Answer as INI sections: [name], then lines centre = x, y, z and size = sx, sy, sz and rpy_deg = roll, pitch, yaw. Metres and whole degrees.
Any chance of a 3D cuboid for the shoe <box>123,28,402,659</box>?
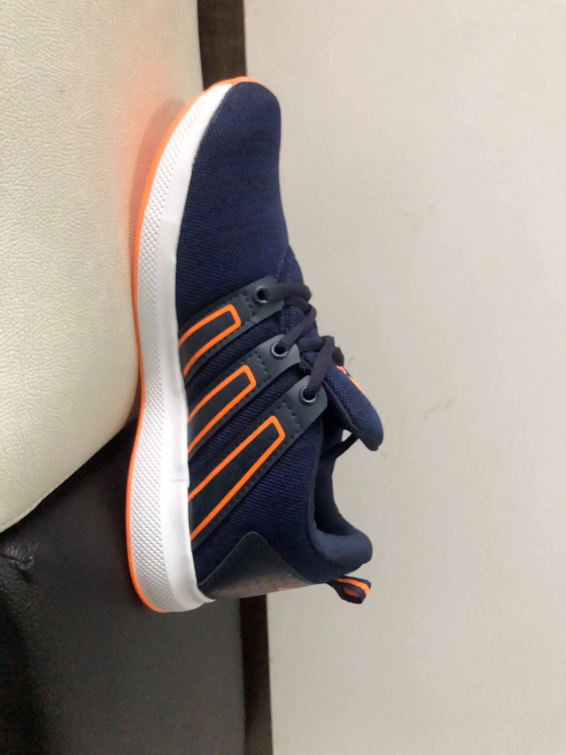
[shoe]
centre = -0.006, -0.017, 0.348
size = 0.120, 0.110, 0.280
rpy_deg = -41, 136, -78
